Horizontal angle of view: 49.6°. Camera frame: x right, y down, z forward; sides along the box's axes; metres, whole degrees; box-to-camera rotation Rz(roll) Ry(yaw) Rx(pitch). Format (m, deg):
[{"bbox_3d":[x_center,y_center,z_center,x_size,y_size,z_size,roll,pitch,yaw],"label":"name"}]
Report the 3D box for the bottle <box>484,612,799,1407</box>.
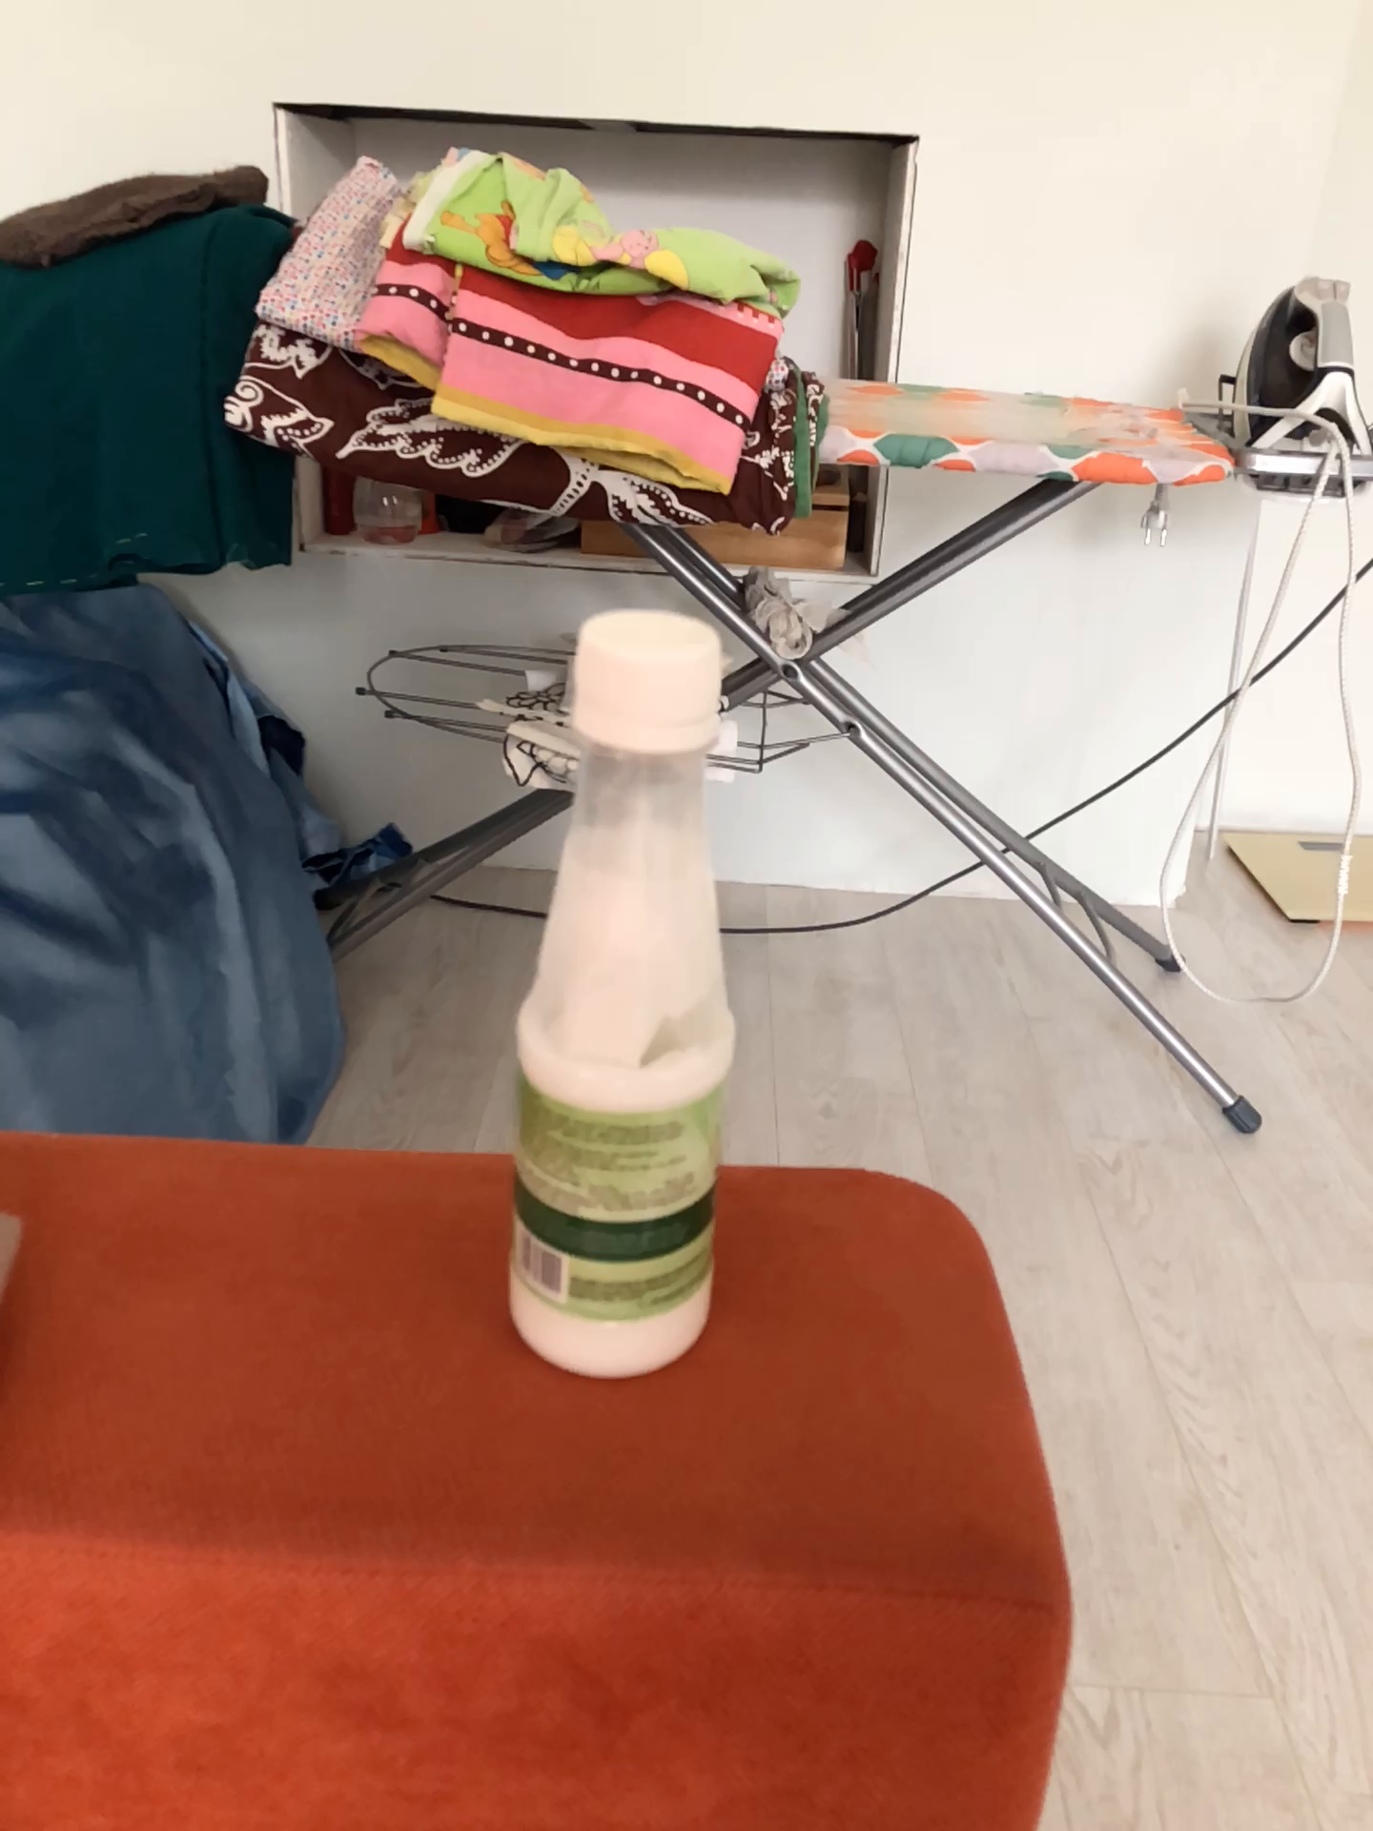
[{"bbox_3d":[-0.016,0.024,0.355,0.060,0.179,0.060,2,24,-1],"label":"bottle"}]
